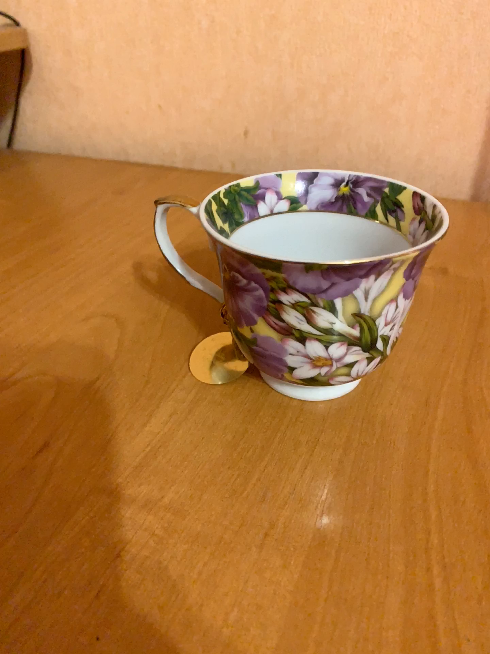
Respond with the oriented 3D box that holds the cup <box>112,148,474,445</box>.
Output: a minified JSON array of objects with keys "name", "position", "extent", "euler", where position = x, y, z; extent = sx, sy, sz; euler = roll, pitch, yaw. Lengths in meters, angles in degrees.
[{"name":"cup","position":[0.021,-0.021,0.201],"extent":[0.109,0.069,0.077],"euler":[14,36,22]}]
